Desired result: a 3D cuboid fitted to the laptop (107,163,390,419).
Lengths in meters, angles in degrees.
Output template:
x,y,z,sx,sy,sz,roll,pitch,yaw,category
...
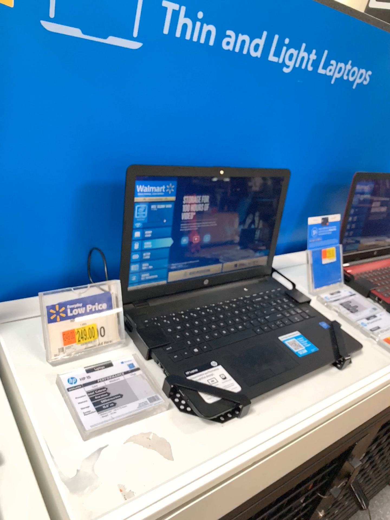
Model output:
x,y,z,sx,sy,sz,roll,pitch,yaw,category
0.100,0.008,0.656,0.363,0.225,0.287,-9,36,-37,laptop
